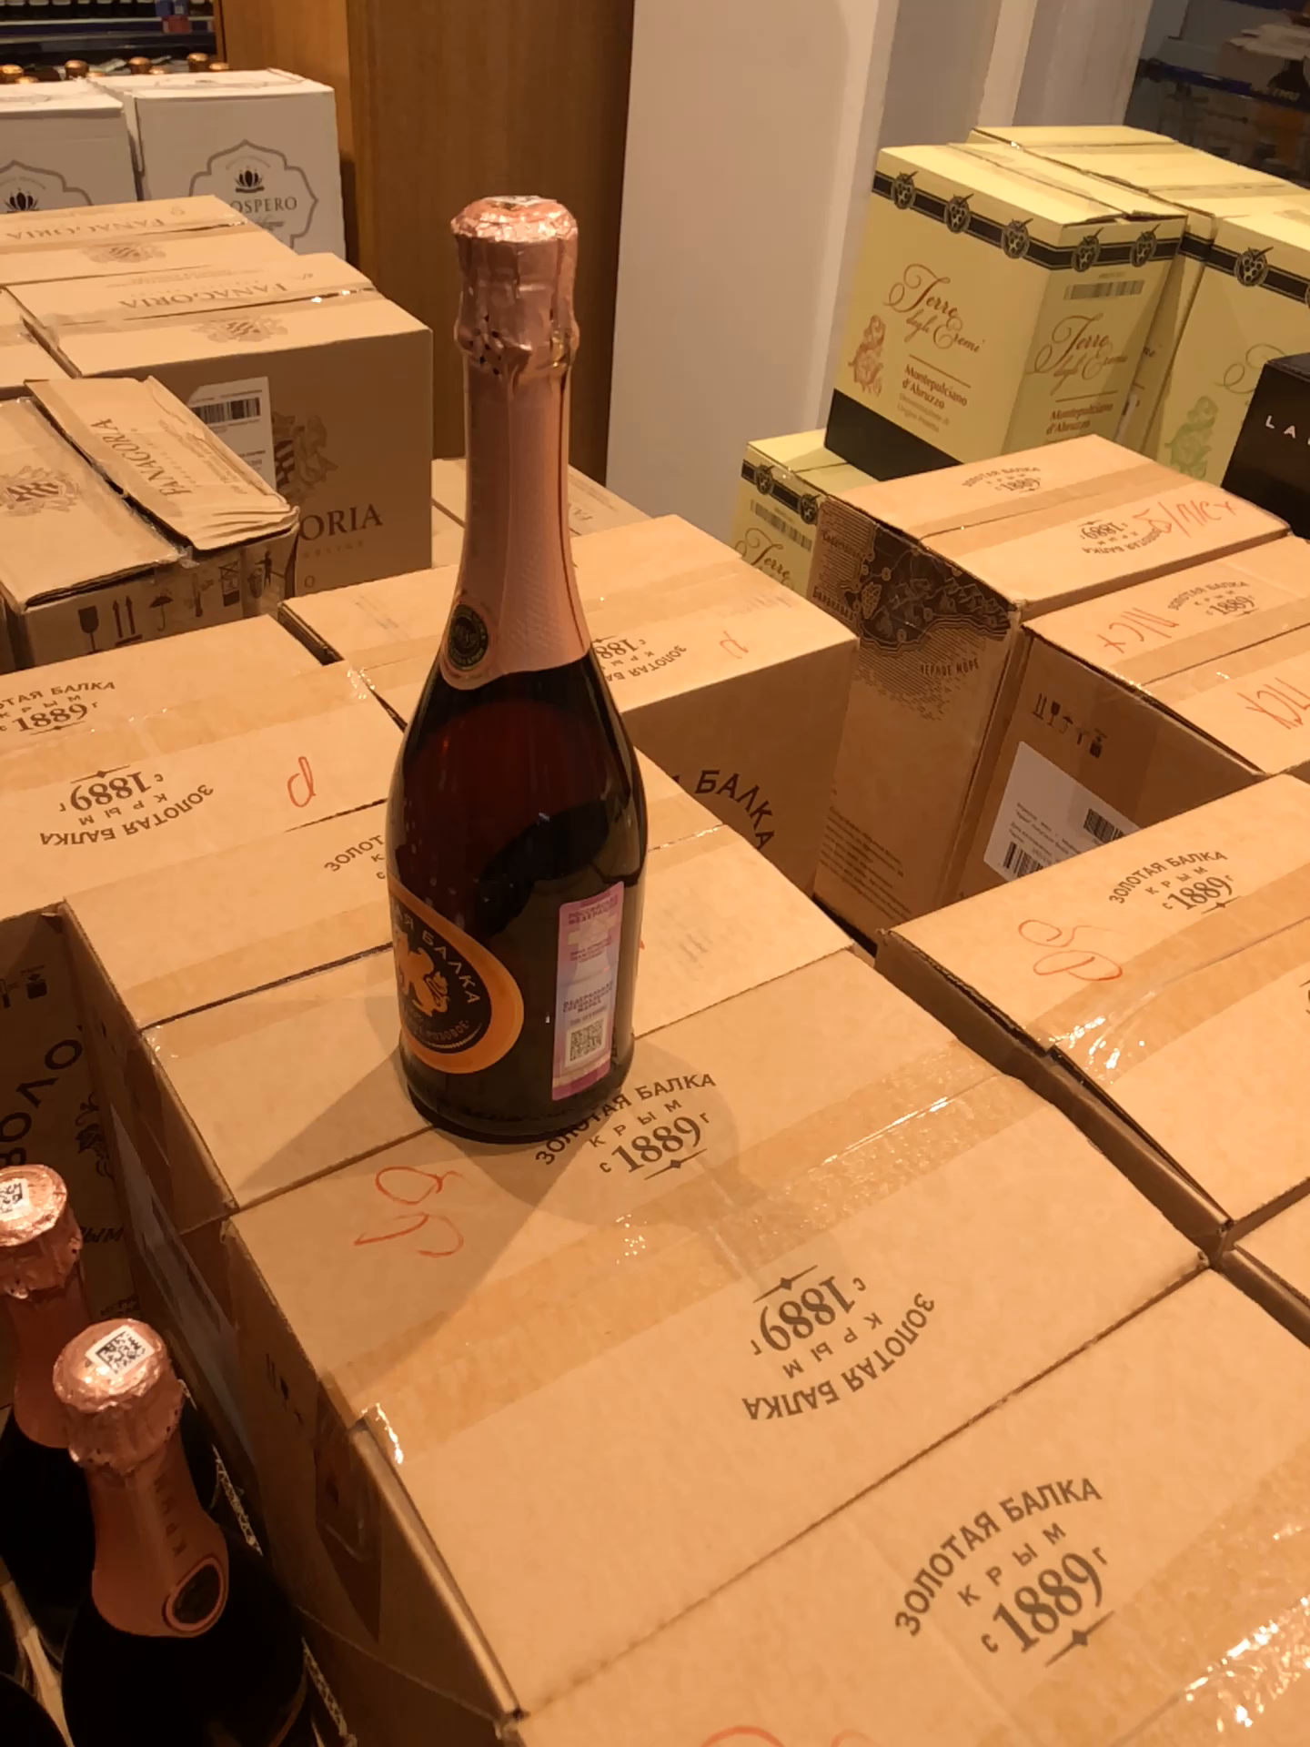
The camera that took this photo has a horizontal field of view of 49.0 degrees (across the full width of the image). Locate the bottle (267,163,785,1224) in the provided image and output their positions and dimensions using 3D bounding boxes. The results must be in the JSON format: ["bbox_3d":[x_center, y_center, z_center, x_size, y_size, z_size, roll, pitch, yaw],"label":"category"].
[{"bbox_3d":[-0.046,-0.043,0.455,0.090,0.308,0.100,-22,45,-32],"label":"bottle"}]
